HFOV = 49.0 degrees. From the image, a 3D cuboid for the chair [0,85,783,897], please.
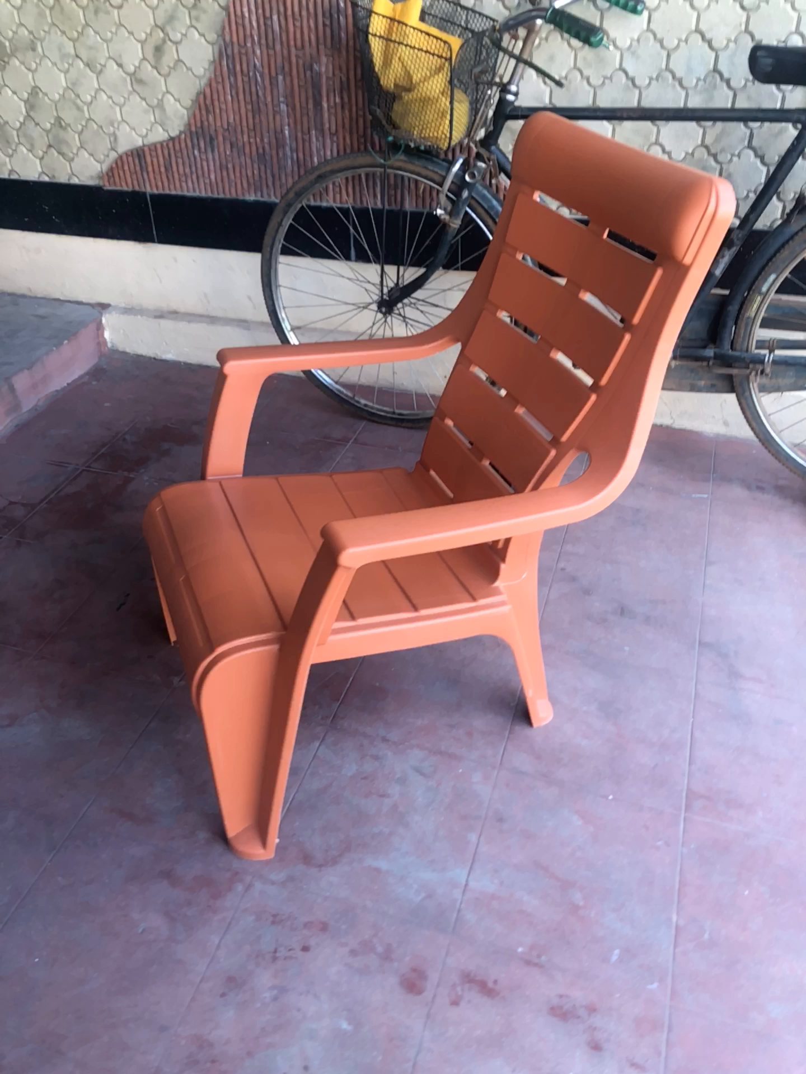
[{"bbox_3d":[-0.079,-0.132,1.288,0.761,0.786,0.692,-15,38,-17],"label":"chair"}]
